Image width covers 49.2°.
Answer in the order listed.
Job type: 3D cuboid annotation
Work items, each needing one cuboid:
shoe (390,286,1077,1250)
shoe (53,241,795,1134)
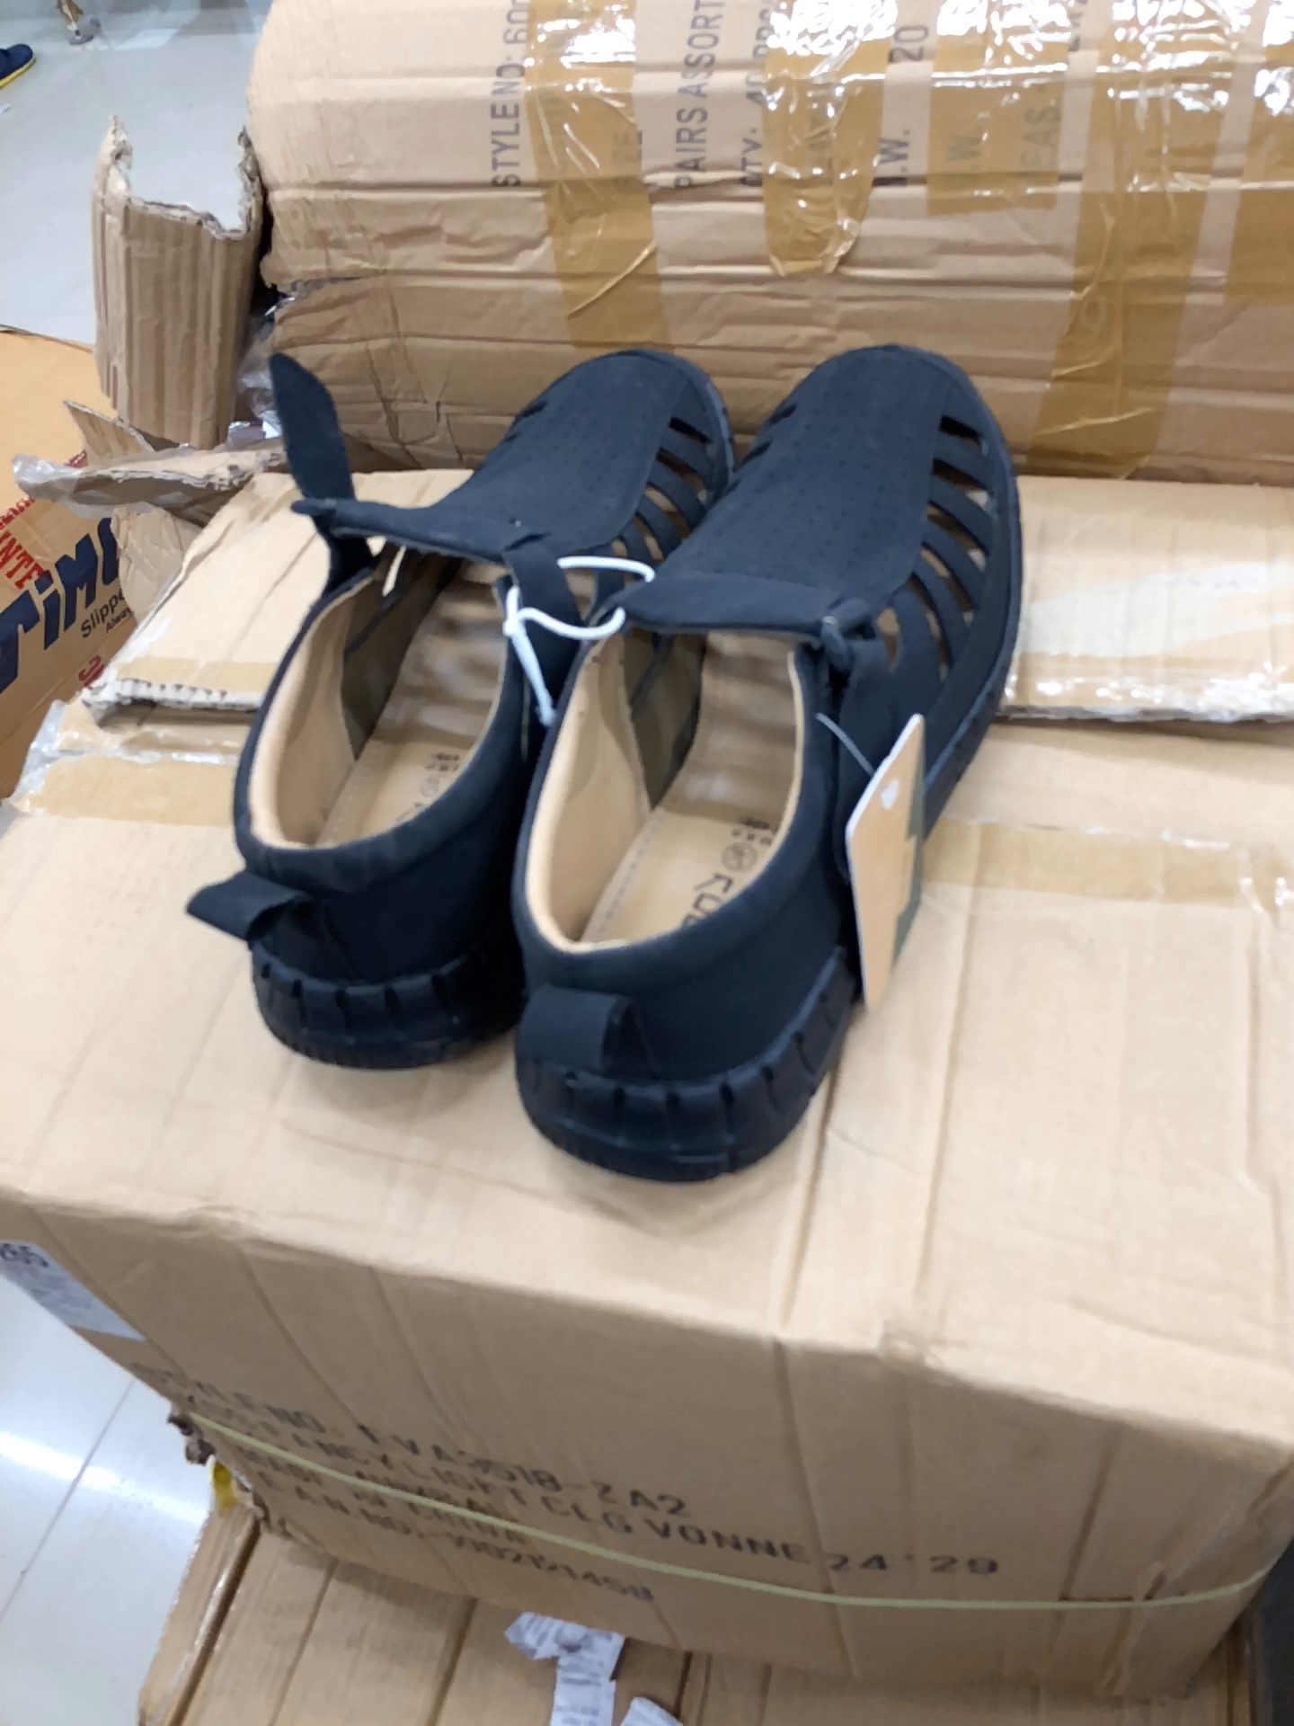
[{"bbox_3d":[0.045,-0.047,0.405,0.100,0.099,0.271,11,53,20],"label":"shoe"},{"bbox_3d":[-0.041,-0.073,0.436,0.110,0.099,0.282,7,52,17],"label":"shoe"}]
